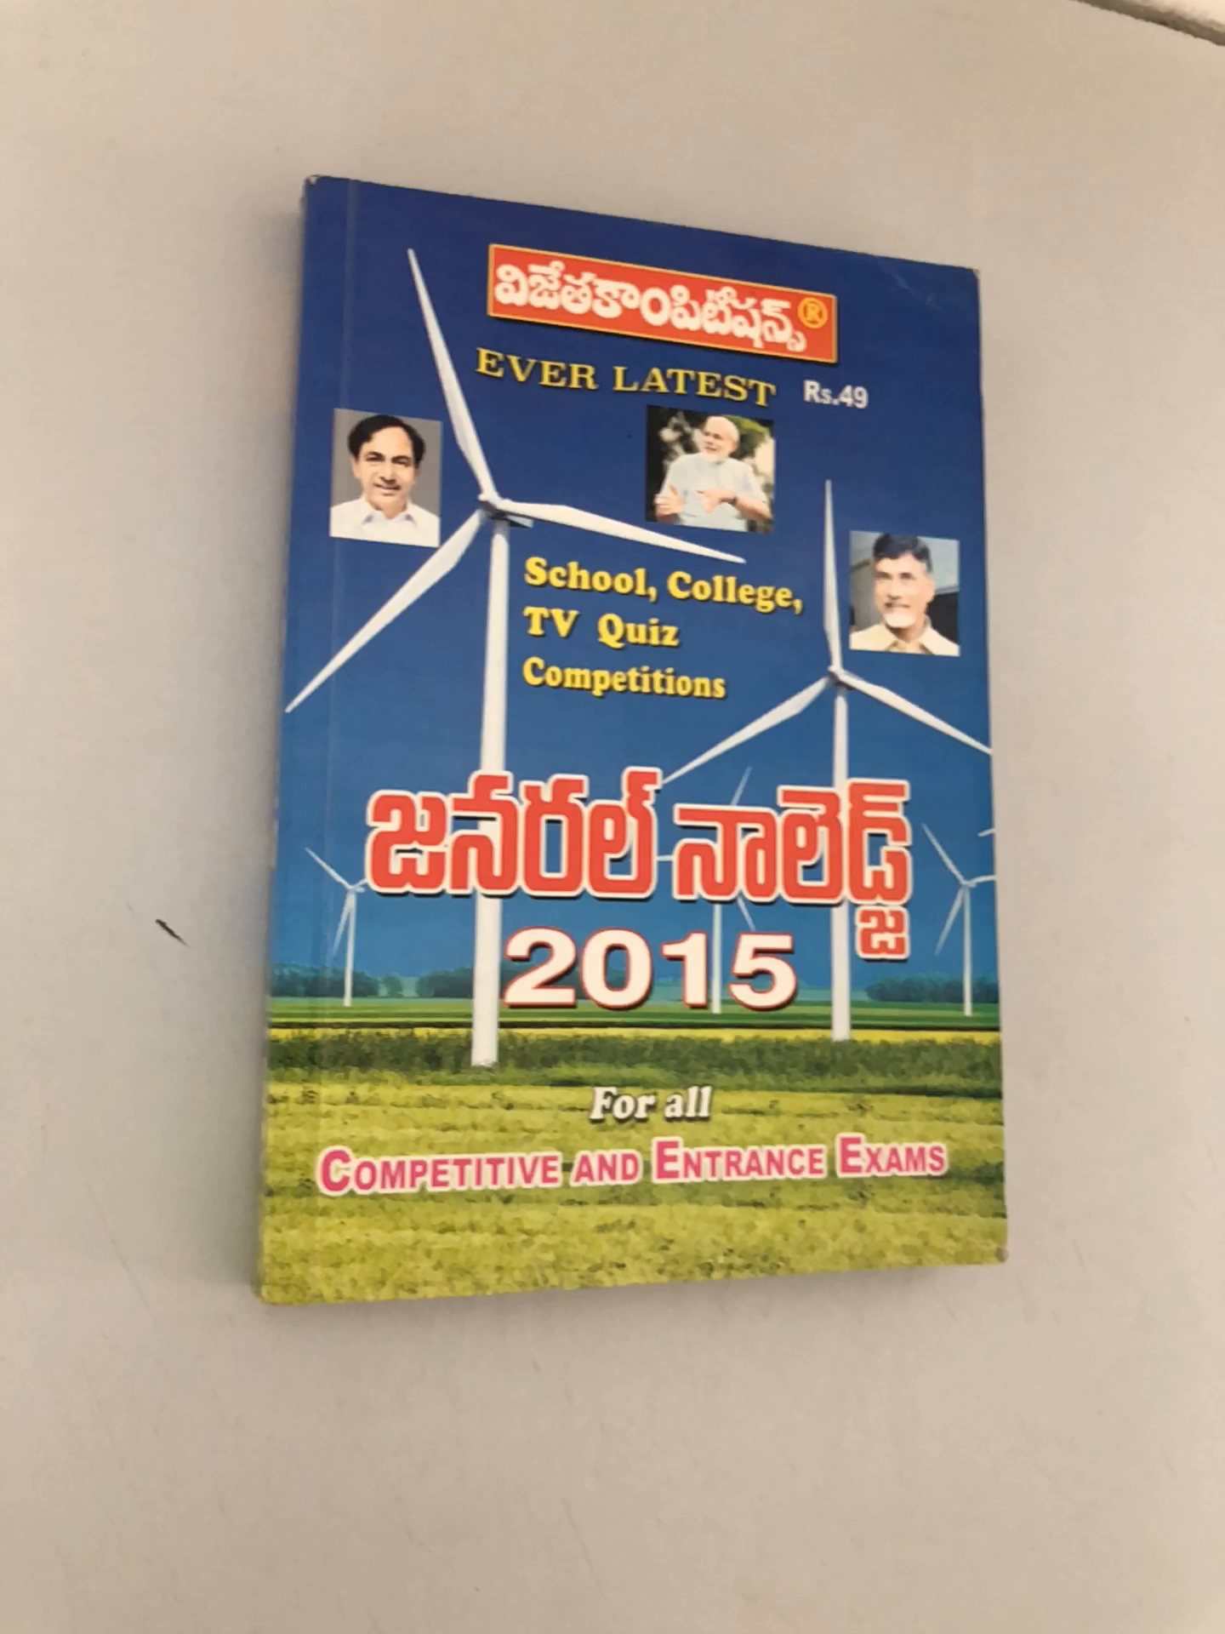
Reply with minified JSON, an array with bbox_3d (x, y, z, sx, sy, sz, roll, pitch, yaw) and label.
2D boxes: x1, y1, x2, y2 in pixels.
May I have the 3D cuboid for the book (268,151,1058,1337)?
[{"bbox_3d":[0.010,-0.012,0.236,0.129,0.022,0.182,2,83,-16],"label":"book"}]
